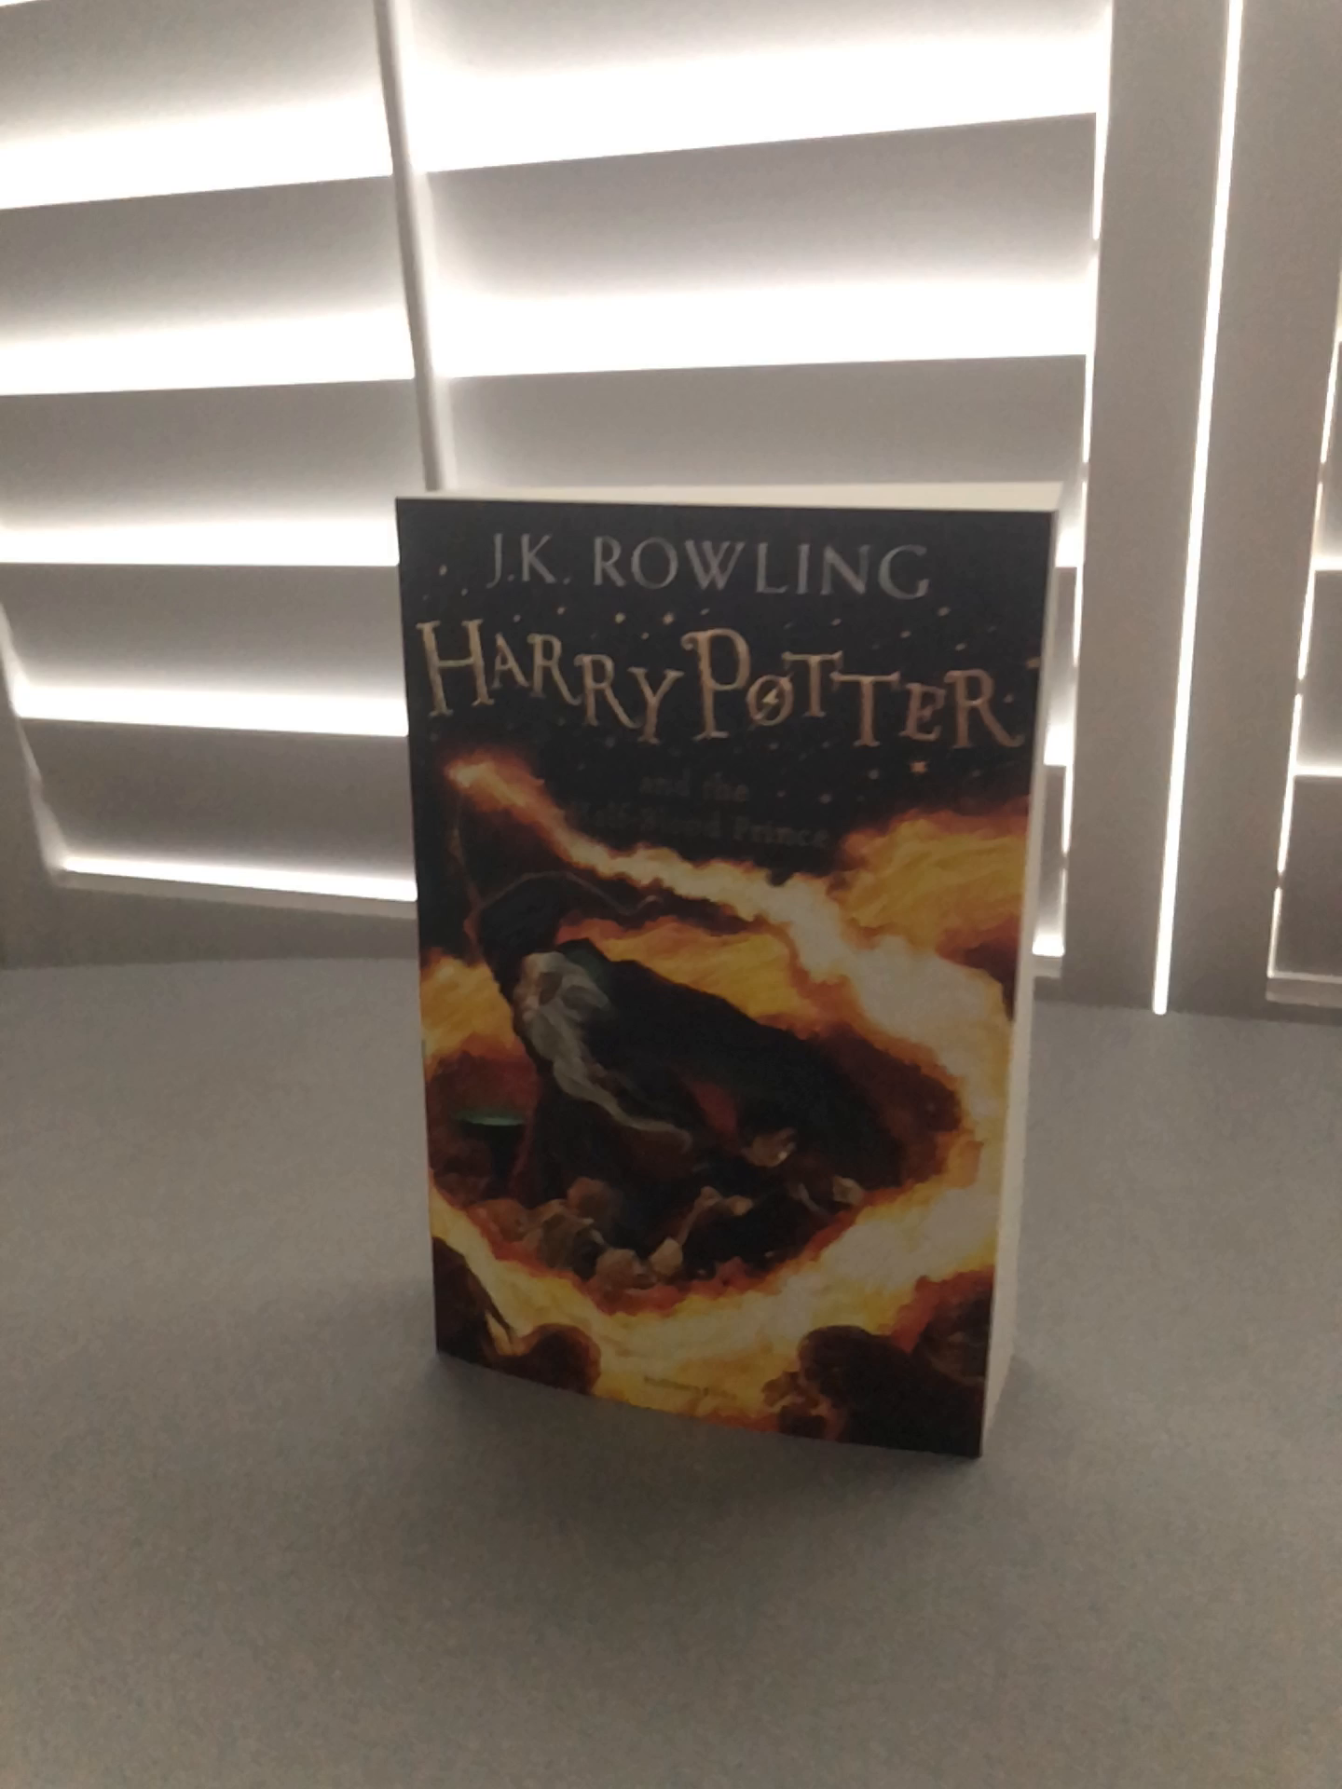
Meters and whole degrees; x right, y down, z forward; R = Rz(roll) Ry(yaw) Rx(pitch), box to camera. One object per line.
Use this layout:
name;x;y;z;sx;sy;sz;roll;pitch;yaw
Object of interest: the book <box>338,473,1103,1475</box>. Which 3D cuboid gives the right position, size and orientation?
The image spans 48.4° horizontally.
book;0.012;0.012;0.319;0.141;0.194;0.047;4;17;19
